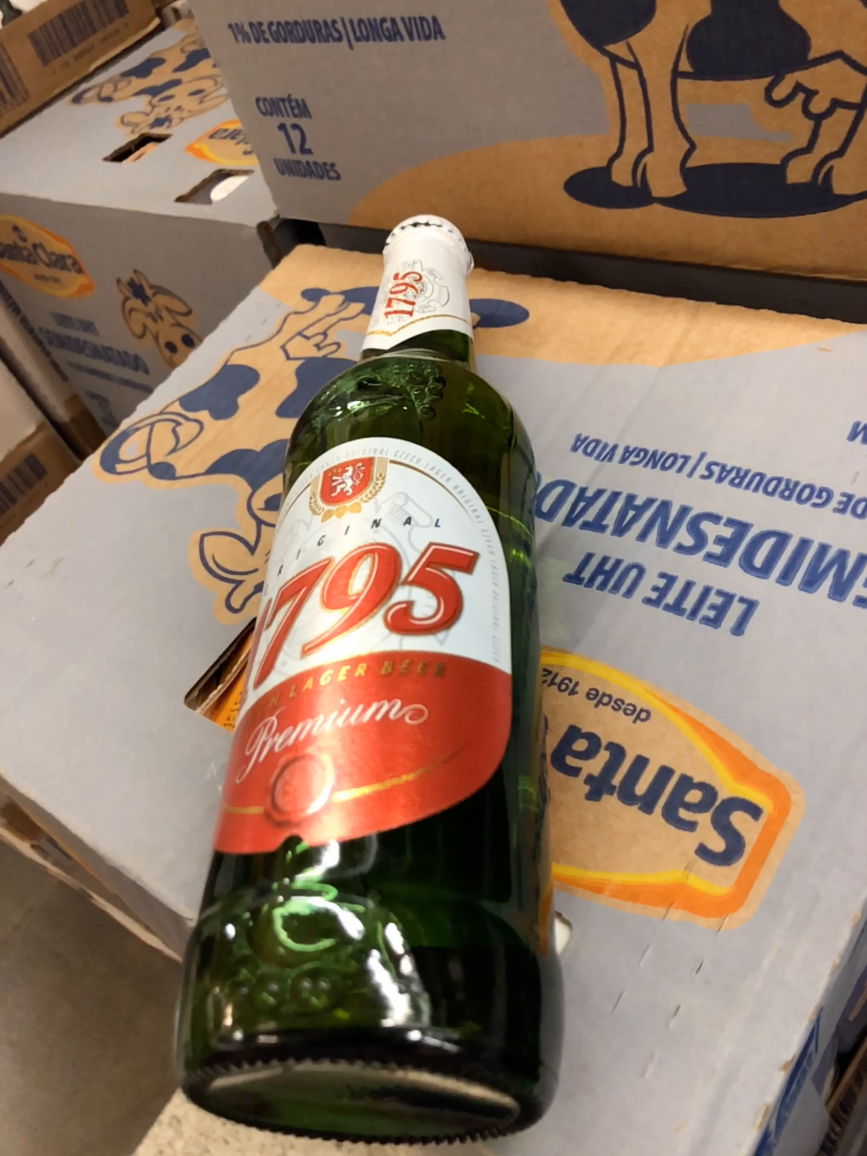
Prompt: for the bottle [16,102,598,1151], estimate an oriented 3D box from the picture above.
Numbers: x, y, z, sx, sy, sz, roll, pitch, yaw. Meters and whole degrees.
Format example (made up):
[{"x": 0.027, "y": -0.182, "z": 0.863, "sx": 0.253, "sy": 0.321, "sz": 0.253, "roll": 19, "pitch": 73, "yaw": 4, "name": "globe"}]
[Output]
[{"x": -0.009, "y": -0.022, "z": 0.236, "sx": 0.070, "sy": 0.060, "sz": 0.272, "roll": -10, "pitch": 46, "yaw": 14, "name": "bottle"}]
